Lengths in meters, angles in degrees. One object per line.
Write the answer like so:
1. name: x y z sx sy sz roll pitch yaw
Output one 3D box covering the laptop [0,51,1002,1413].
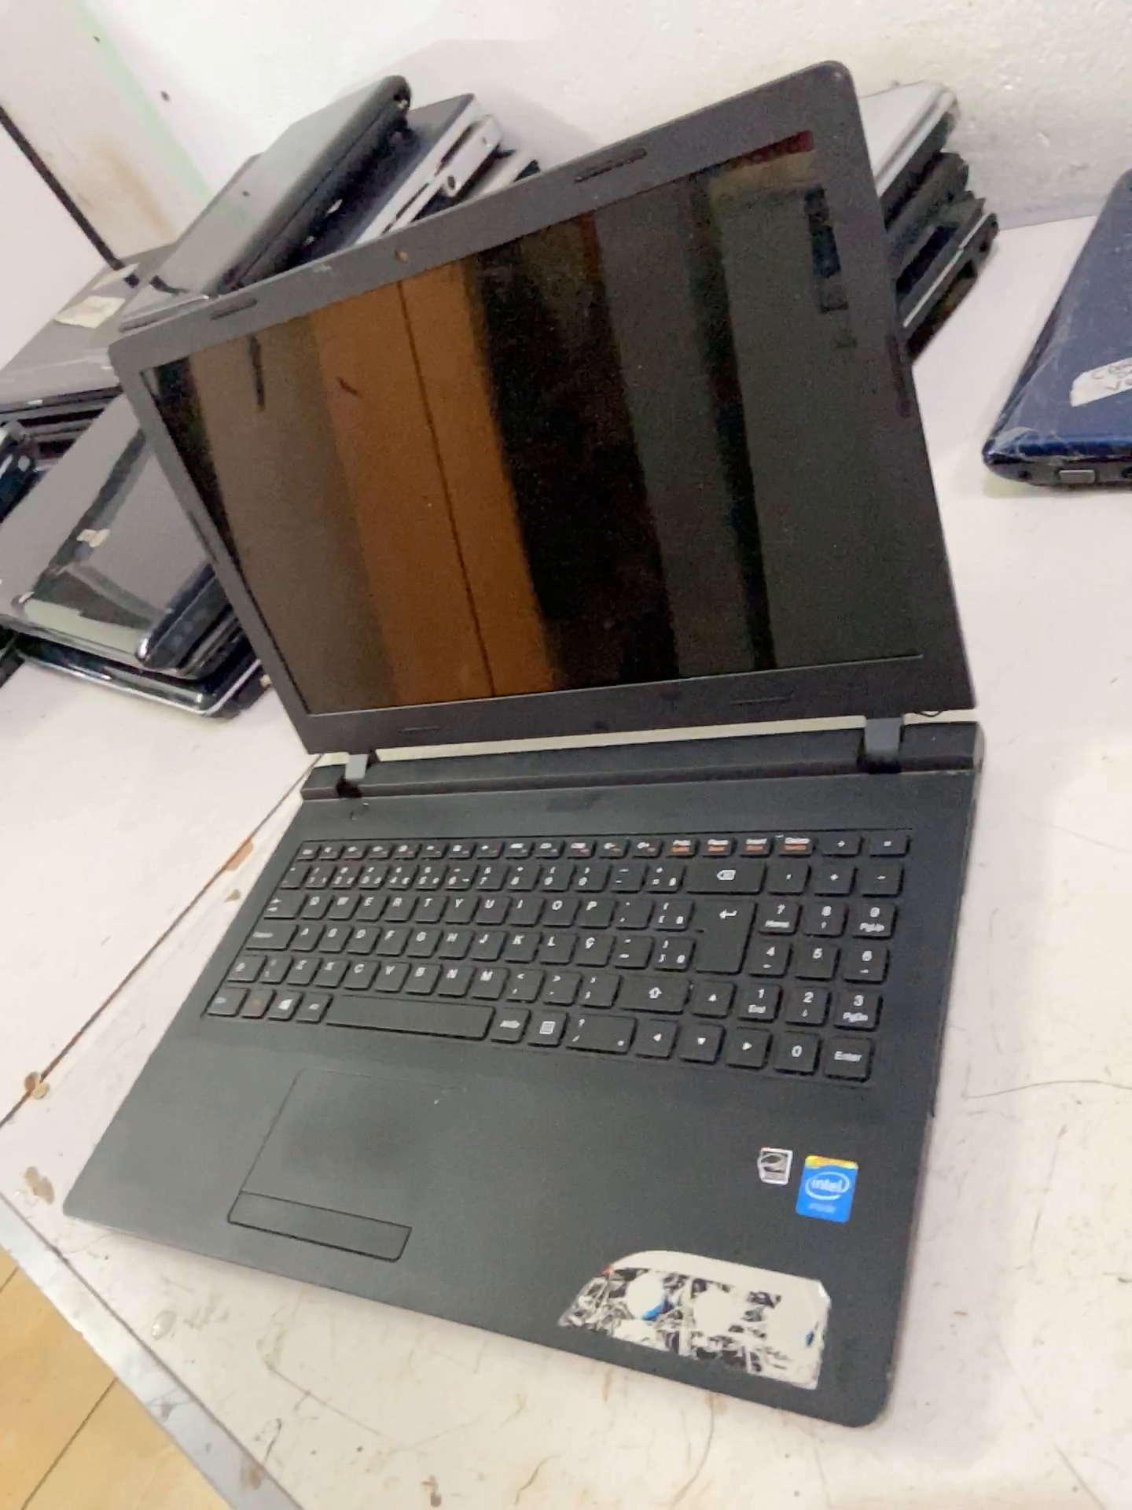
1. laptop: -0.070 -0.009 0.449 0.376 0.230 0.338 -4 48 33
